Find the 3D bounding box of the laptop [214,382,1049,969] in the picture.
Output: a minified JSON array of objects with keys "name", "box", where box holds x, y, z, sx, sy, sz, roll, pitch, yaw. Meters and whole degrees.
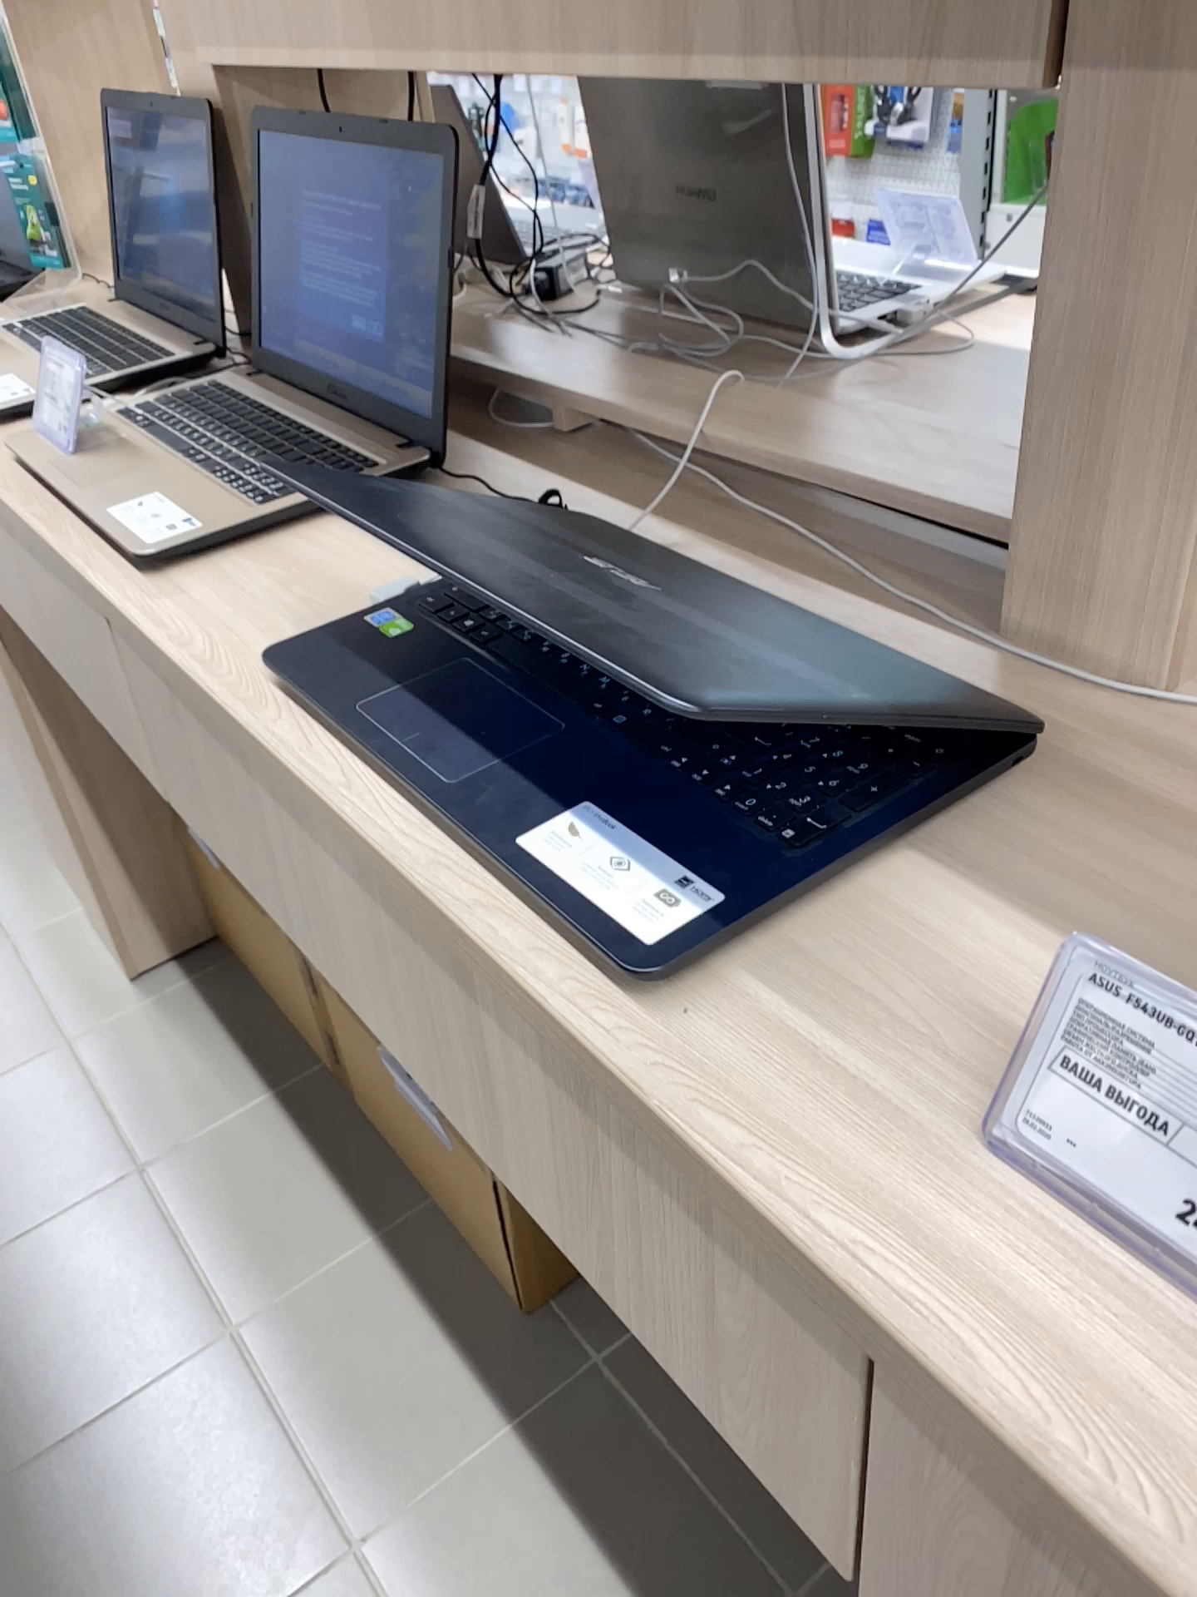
[{"name":"laptop","box":[-0.007,-0.103,0.643,0.235,0.098,0.387,-27,40,-26]}]
